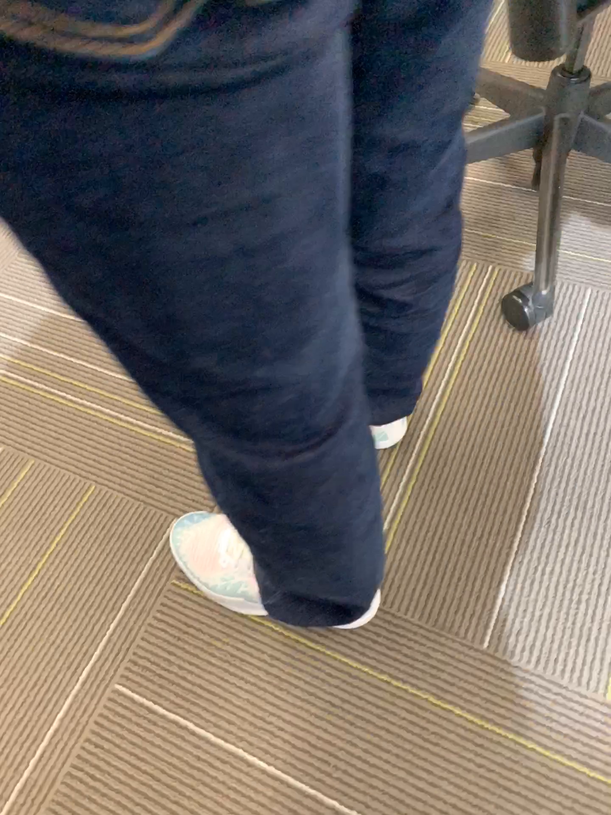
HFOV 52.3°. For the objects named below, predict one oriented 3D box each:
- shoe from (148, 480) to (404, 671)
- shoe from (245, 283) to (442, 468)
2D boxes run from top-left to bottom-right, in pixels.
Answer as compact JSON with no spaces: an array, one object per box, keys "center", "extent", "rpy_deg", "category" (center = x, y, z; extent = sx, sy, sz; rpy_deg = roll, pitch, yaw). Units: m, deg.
[{"center":[-0.035,0.207,0.790],"extent":[0.290,0.078,0.123],"rpy_deg":[17,60,18],"category":"shoe"},{"center":[0.052,-0.055,0.932],"extent":[0.117,0.088,0.284],"rpy_deg":[-40,61,-18],"category":"shoe"}]
